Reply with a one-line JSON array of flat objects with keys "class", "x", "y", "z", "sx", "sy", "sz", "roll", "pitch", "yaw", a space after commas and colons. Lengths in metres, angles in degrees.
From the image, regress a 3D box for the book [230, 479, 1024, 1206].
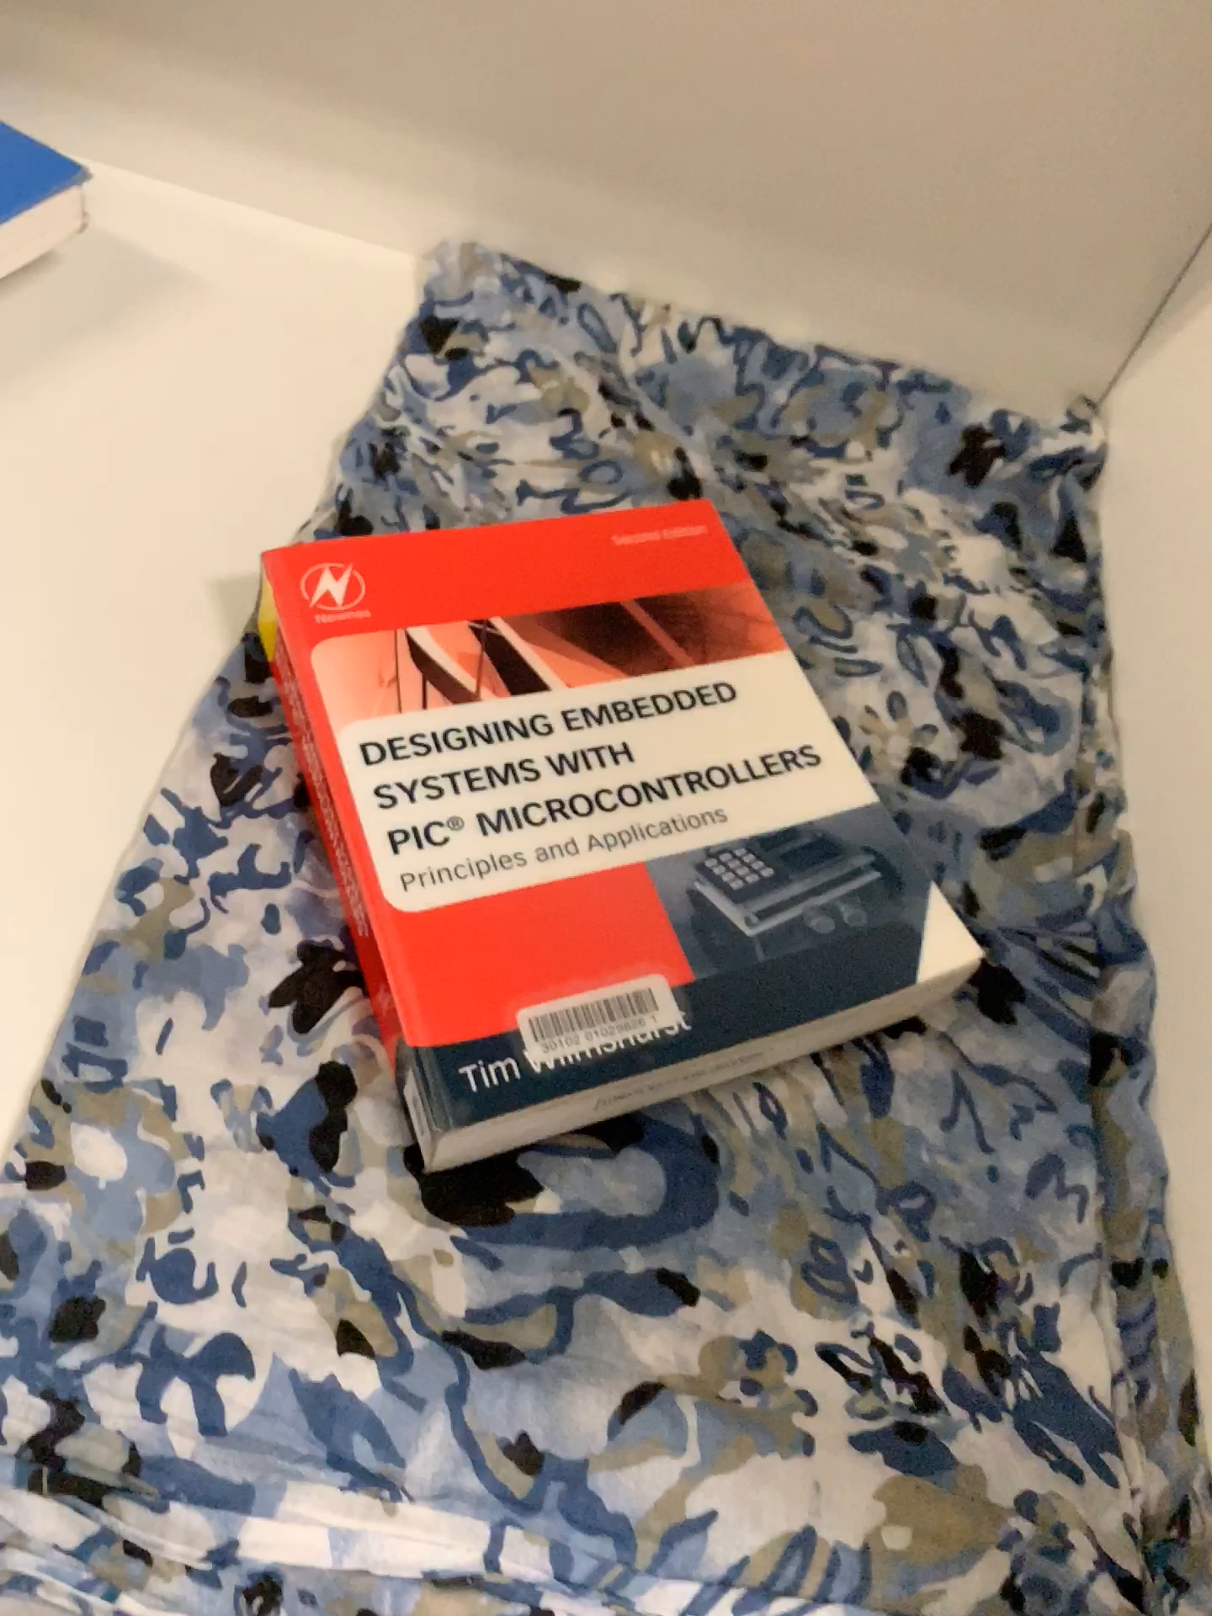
[{"class": "book", "x": -0.004, "y": -0.009, "z": 0.455, "sx": 0.210, "sy": 0.050, "sz": 0.238, "roll": -12, "pitch": 59, "yaw": -21}]
